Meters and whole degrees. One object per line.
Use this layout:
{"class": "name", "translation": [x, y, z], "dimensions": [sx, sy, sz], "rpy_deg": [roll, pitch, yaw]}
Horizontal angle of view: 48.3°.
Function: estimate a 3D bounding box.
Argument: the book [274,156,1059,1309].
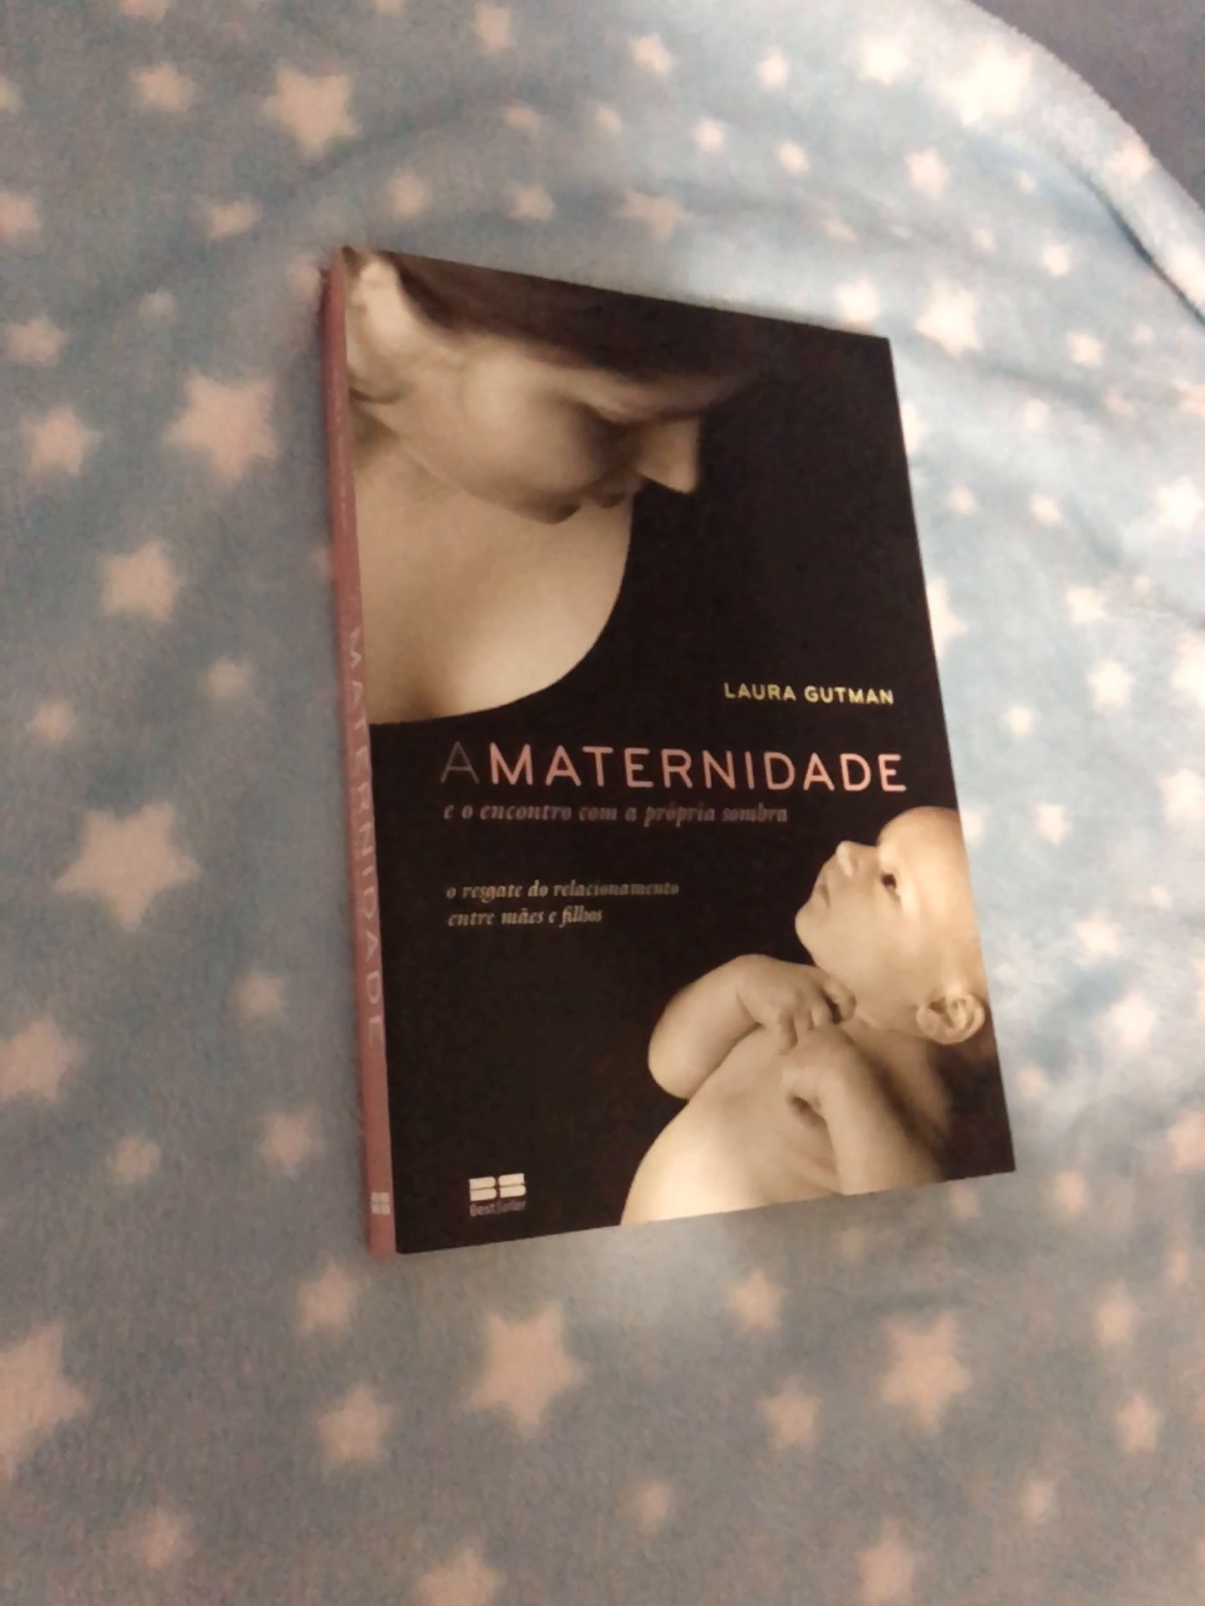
{"class": "book", "translation": [0.012, -0.022, 0.312], "dimensions": [0.161, 0.030, 0.240], "rpy_deg": [1, 74, -24]}
